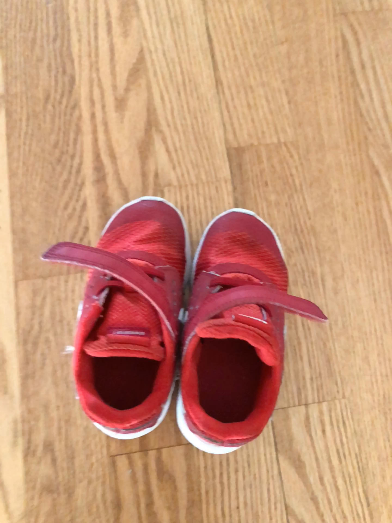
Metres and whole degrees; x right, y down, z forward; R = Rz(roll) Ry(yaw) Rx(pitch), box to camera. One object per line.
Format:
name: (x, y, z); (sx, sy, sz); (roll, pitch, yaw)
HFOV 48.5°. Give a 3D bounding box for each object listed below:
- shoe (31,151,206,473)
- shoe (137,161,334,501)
shoe: (-0.041, 0.029, 0.278); (0.080, 0.069, 0.175); (4, 77, -2)
shoe: (0.025, 0.039, 0.278); (0.088, 0.069, 0.177); (9, 77, -1)
